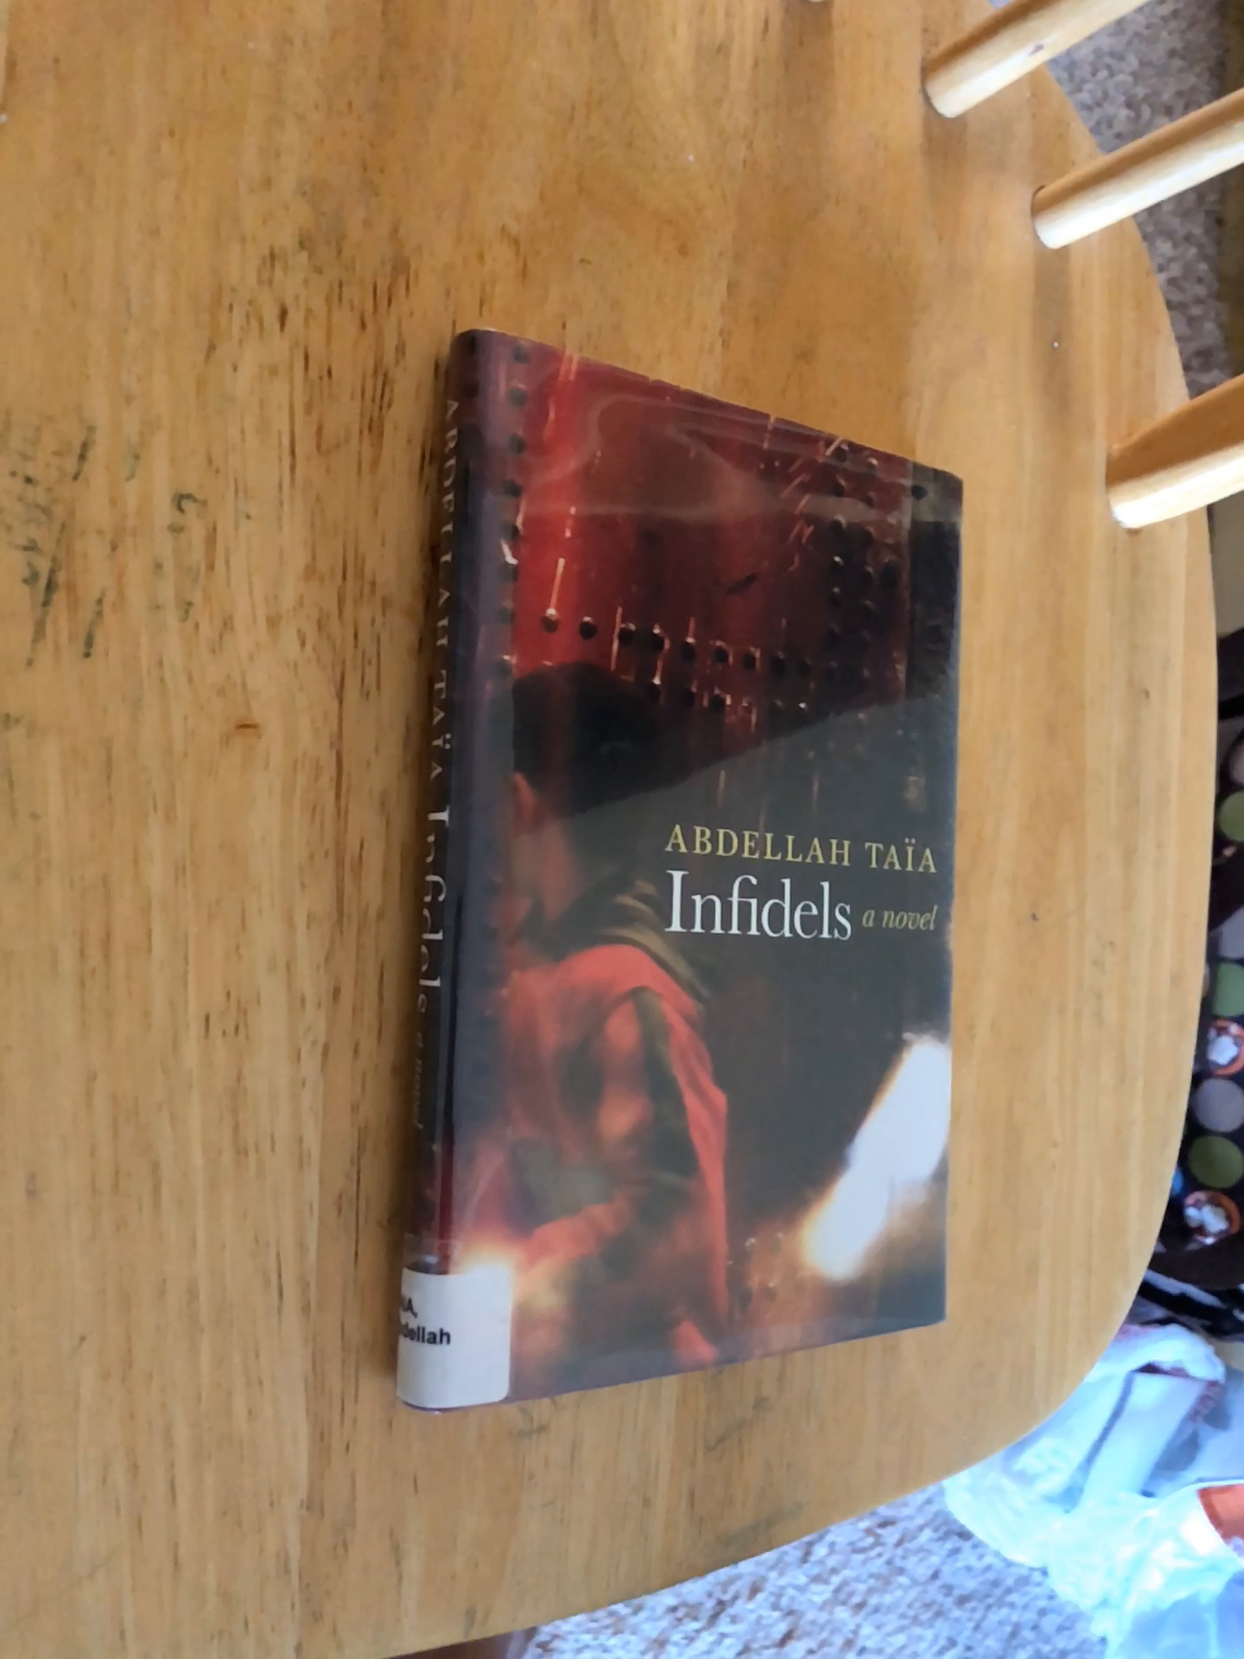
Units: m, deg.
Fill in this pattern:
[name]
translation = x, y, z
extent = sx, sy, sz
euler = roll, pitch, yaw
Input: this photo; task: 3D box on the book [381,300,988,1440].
[book]
translation = 0.023, 0.011, 0.309
extent = 0.143, 0.020, 0.216
euler = 6, 84, -33
